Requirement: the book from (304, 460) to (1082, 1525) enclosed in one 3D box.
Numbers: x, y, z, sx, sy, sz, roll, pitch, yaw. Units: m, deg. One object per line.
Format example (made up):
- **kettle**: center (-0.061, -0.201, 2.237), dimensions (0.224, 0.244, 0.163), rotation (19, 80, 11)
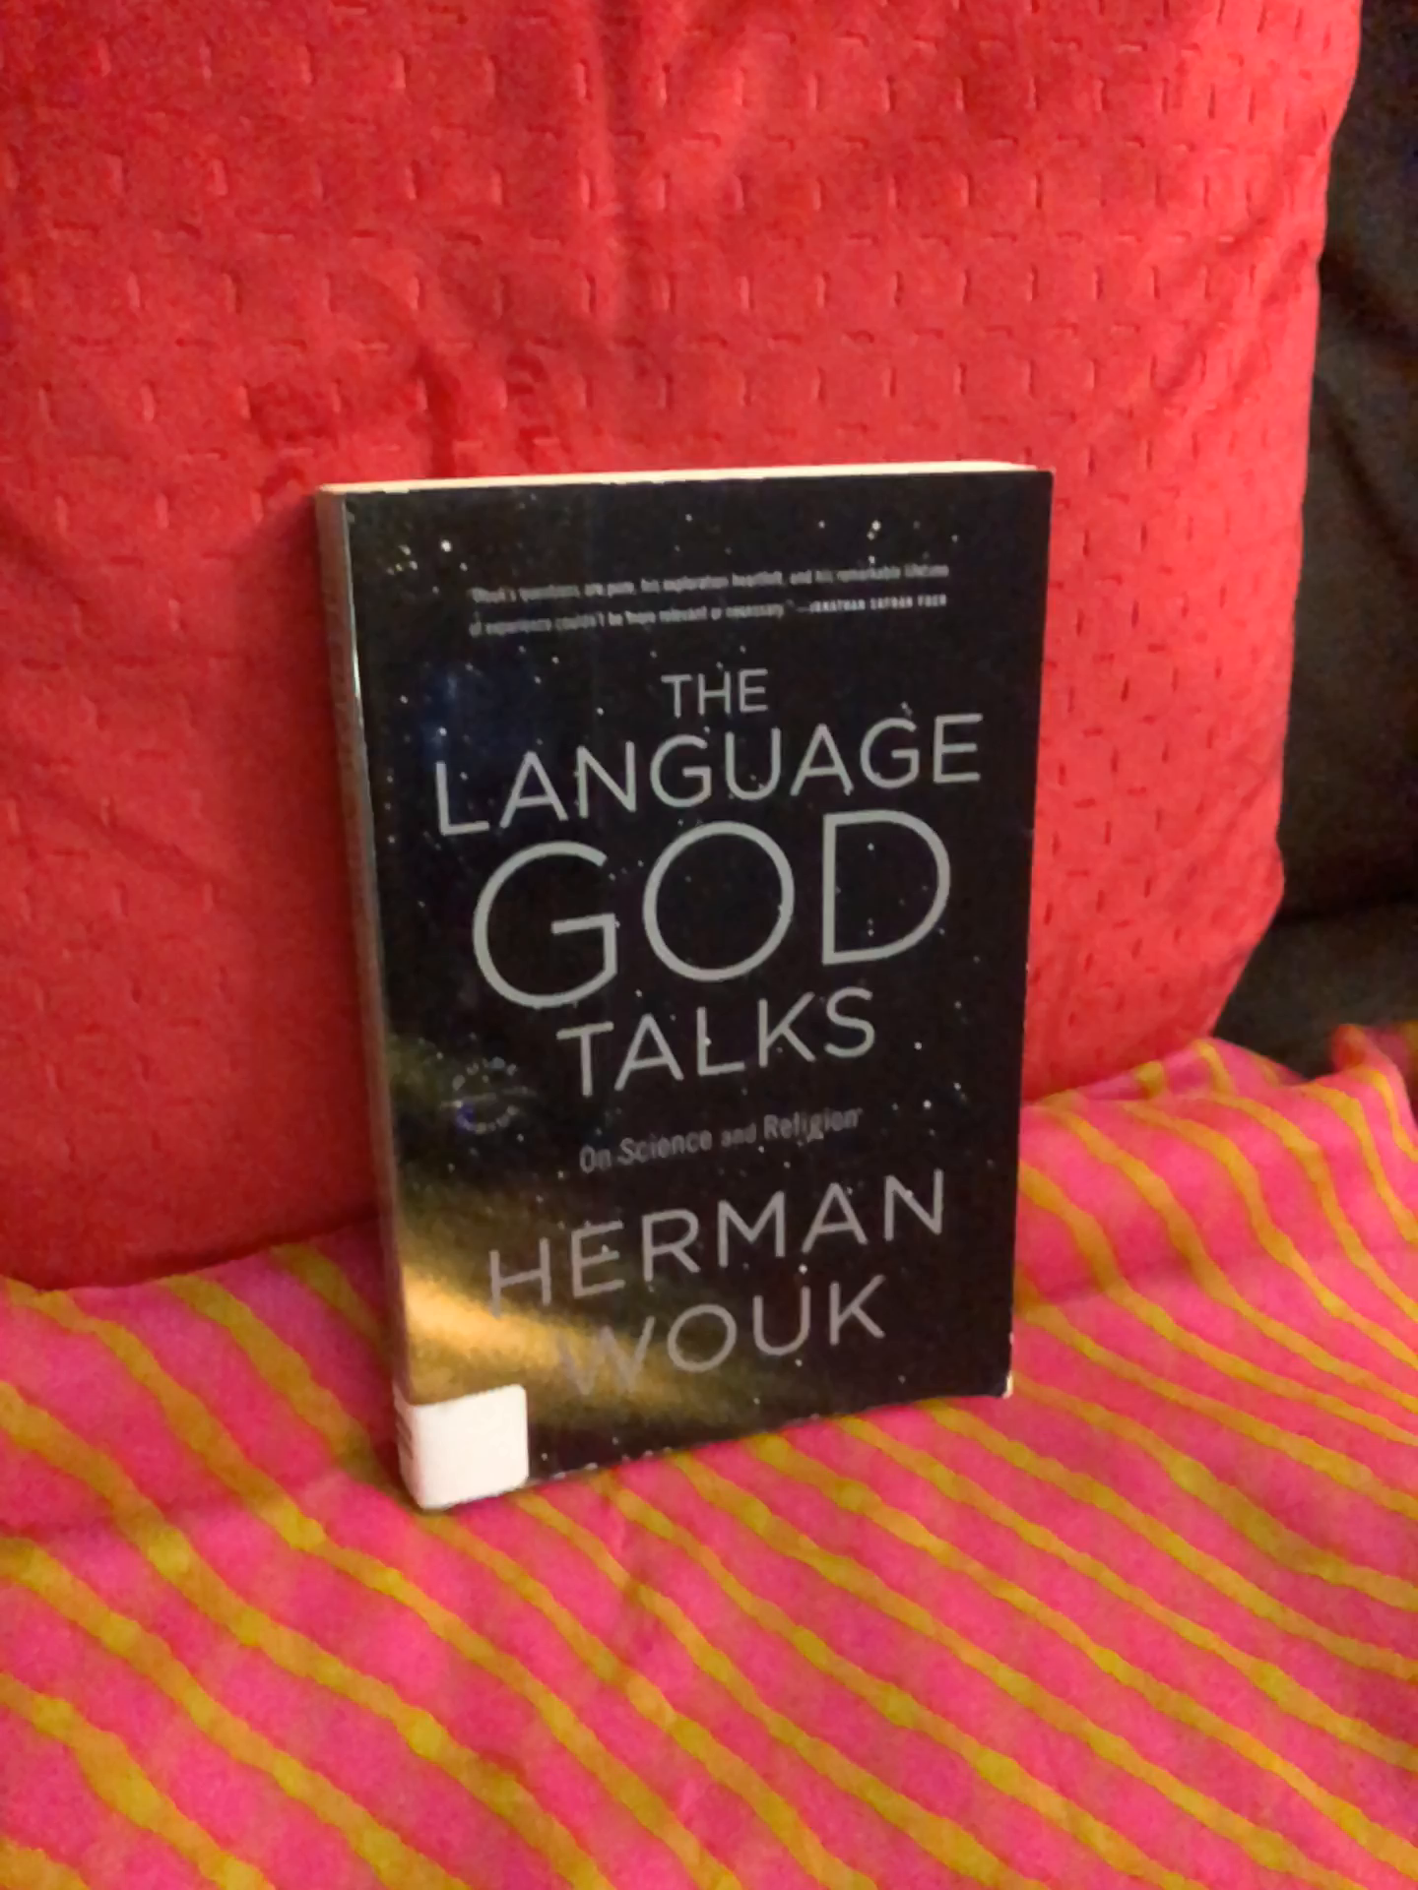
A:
- **book**: center (0.000, 0.009, 0.318), dimensions (0.138, 0.199, 0.030), rotation (-7, 20, -18)
